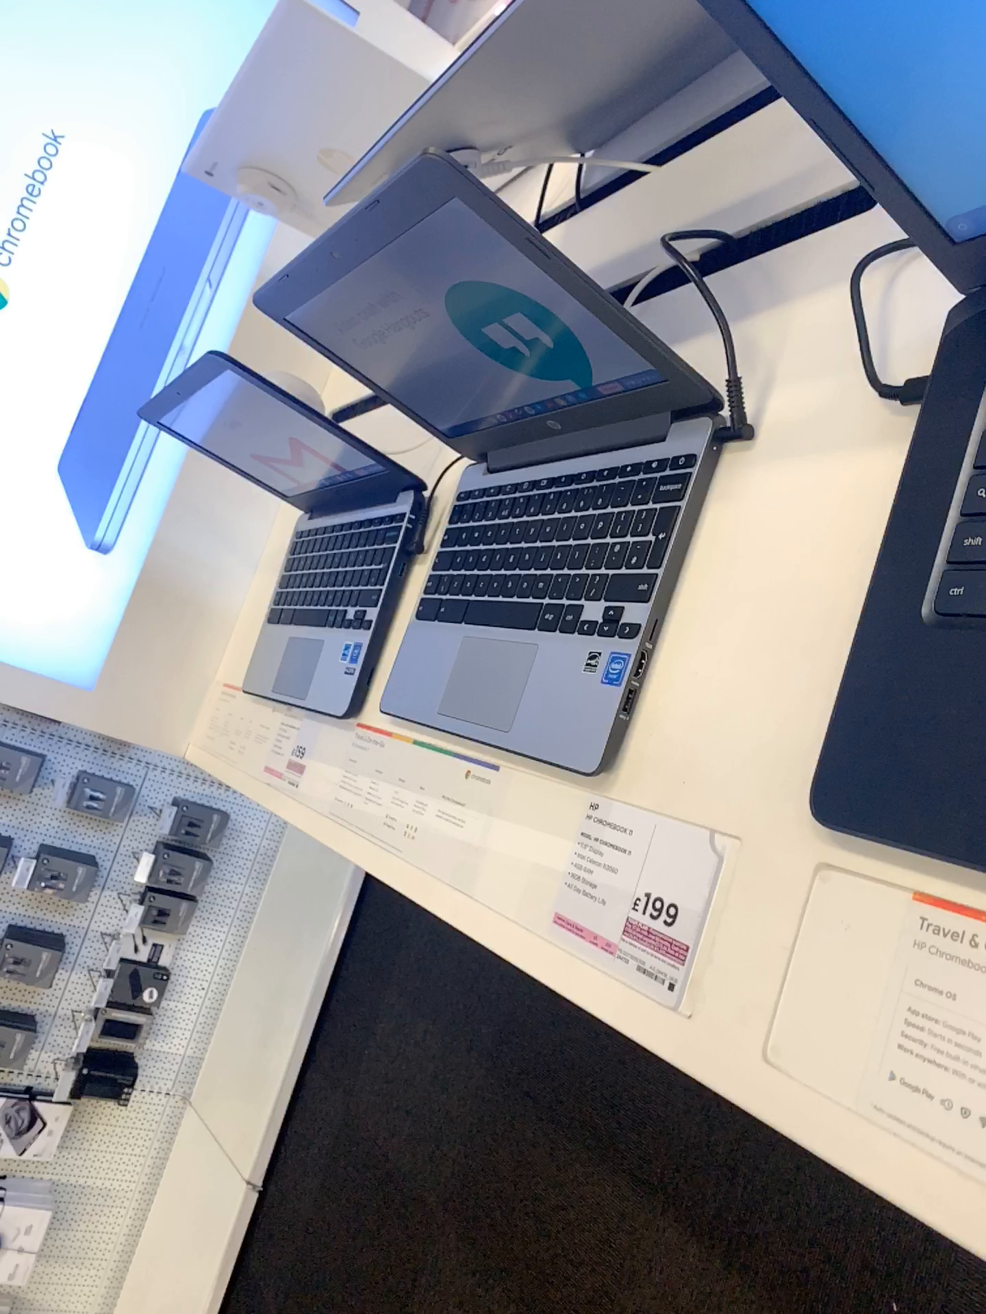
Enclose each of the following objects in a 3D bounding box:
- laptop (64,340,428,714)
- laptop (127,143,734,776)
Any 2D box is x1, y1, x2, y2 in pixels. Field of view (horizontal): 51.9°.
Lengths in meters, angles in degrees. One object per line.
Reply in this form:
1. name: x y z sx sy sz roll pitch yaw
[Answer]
1. laptop: -0.228 -0.099 0.883 0.288 0.180 0.221 5 76 60
2. laptop: -0.056 -0.090 0.585 0.279 0.185 0.228 7 76 61
